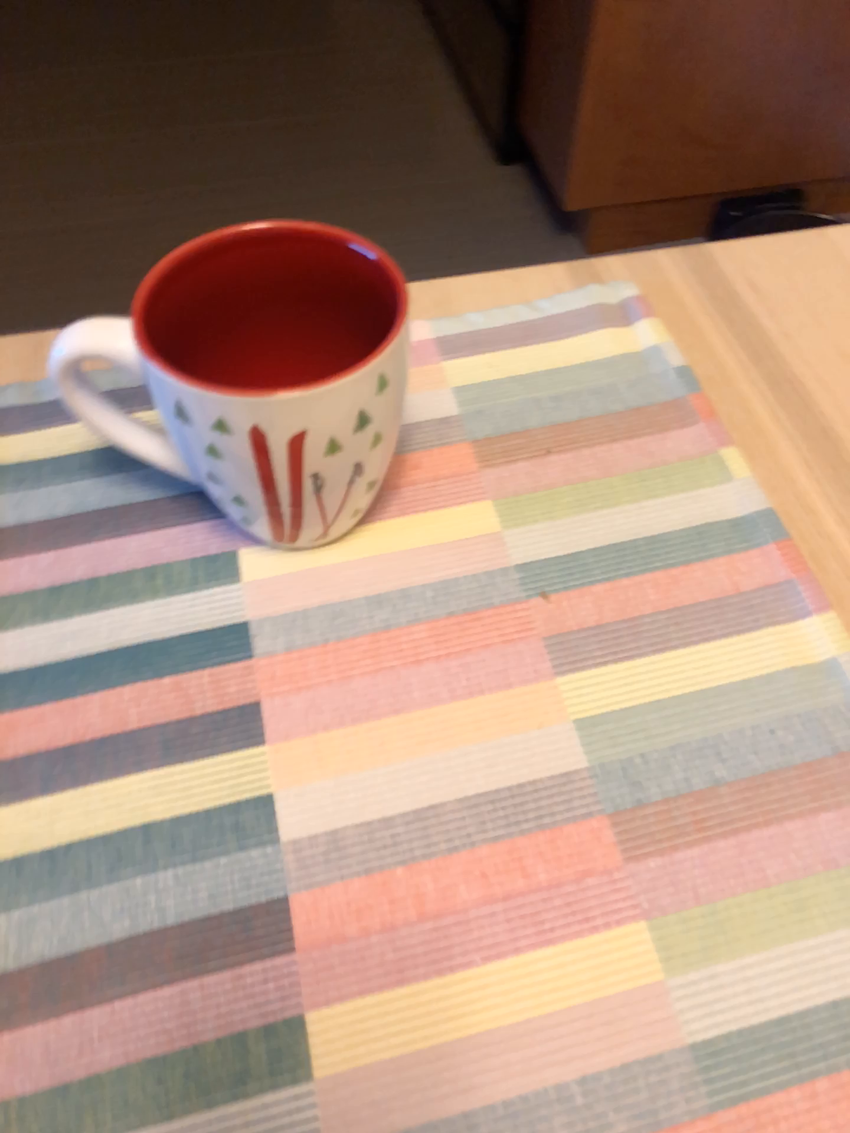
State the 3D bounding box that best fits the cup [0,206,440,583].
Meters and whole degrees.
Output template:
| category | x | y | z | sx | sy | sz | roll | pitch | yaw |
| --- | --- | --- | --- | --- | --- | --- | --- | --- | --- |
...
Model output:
| category | x | y | z | sx | sy | sz | roll | pitch | yaw |
| --- | --- | --- | --- | --- | --- | --- | --- | --- | --- |
| cup | -0.066 | -0.062 | 0.346 | 0.140 | 0.090 | 0.100 | 1 | 53 | 0 |
